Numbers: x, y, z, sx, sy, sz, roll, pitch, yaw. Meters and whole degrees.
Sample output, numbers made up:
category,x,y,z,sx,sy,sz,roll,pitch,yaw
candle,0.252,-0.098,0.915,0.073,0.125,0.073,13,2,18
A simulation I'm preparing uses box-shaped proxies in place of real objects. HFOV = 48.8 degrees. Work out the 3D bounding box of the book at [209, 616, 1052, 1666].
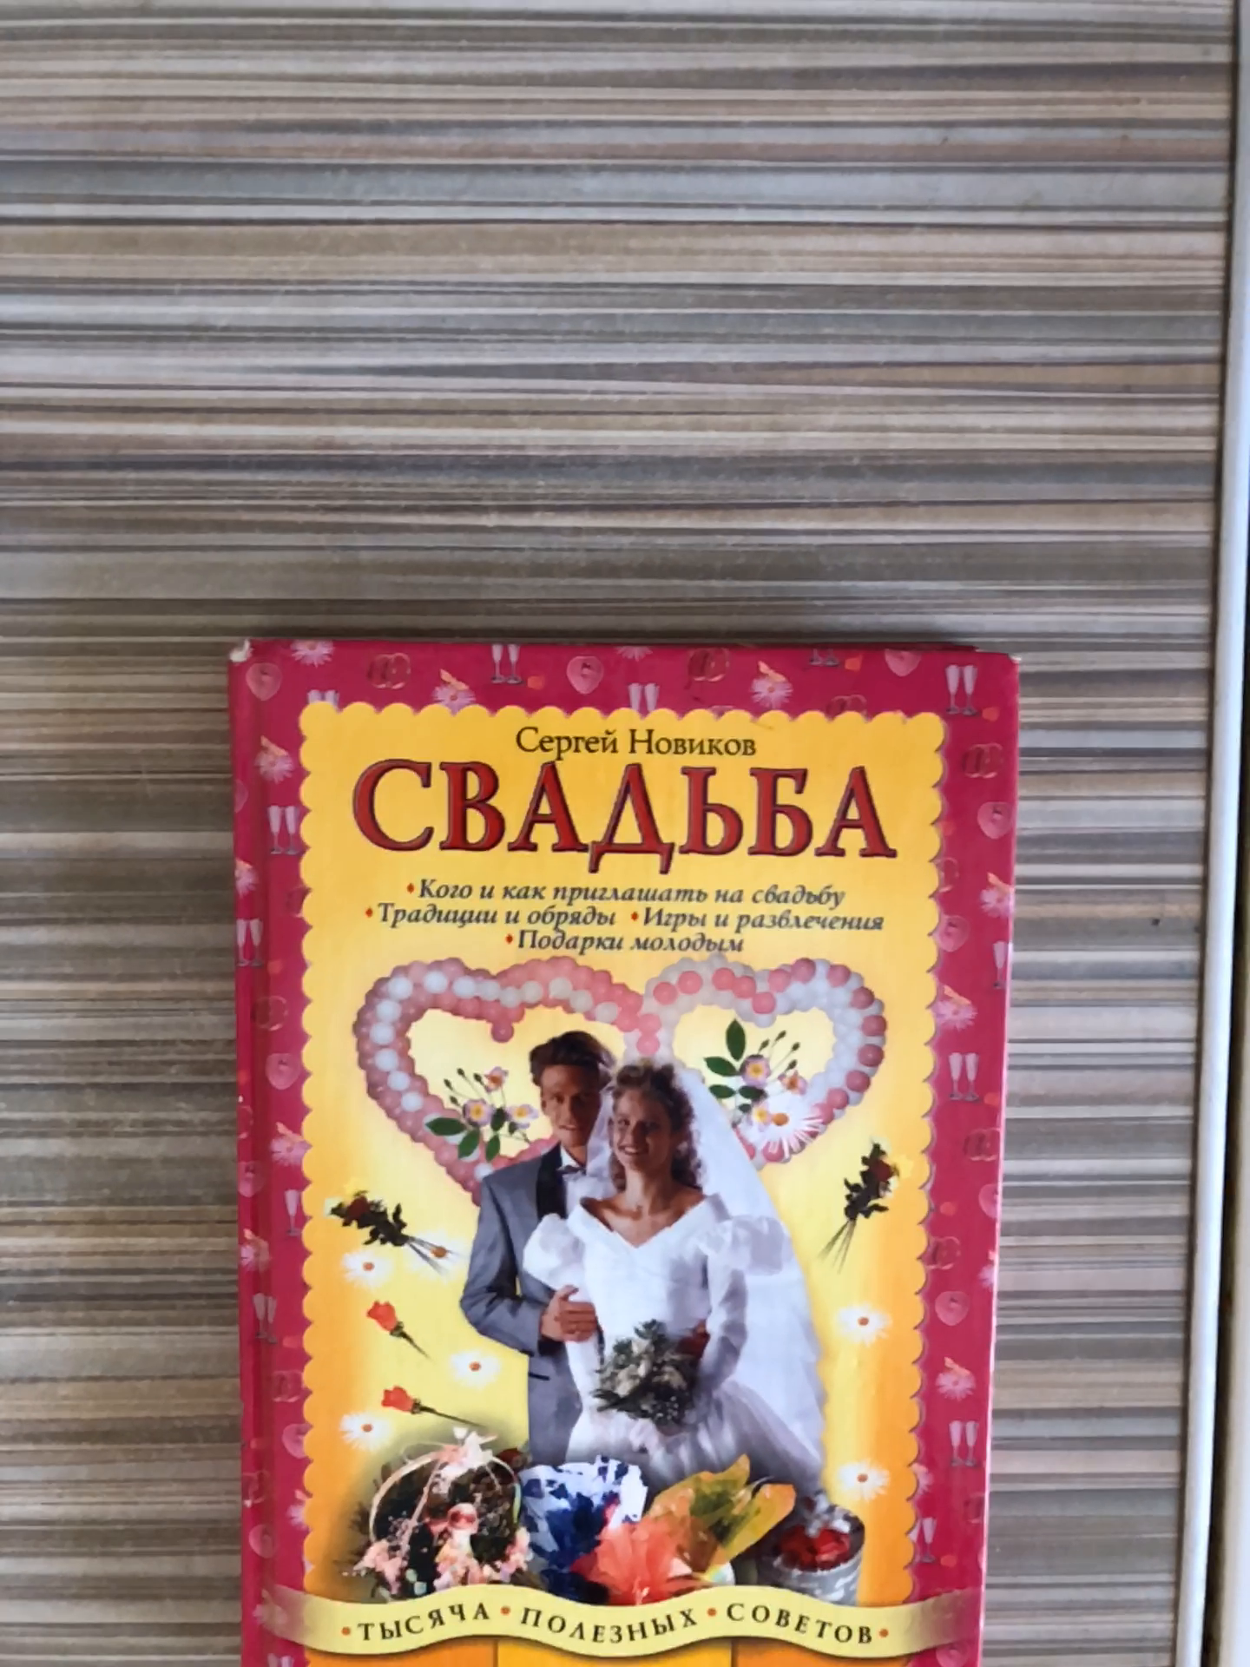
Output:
category,x,y,z,sx,sy,sz,roll,pitch,yaw
book,0.000,0.071,0.265,0.150,0.020,0.220,1,95,-2
